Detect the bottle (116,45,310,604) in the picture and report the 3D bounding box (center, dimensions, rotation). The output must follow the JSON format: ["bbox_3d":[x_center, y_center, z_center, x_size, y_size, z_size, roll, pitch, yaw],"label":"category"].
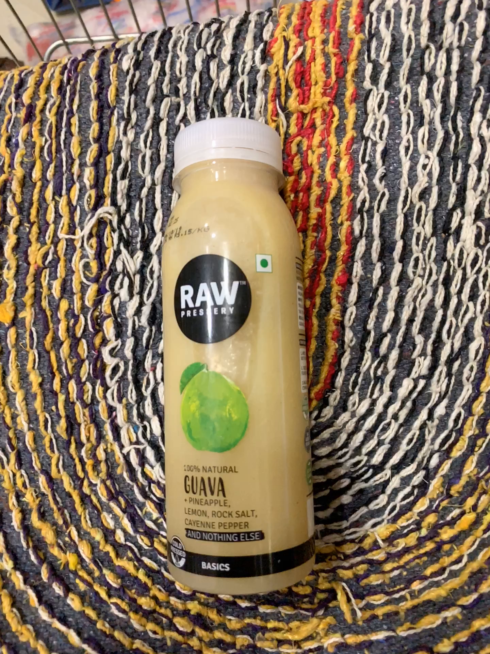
[{"bbox_3d":[-0.010,-0.002,0.170,0.050,0.040,0.160,-4,82,14],"label":"bottle"}]
